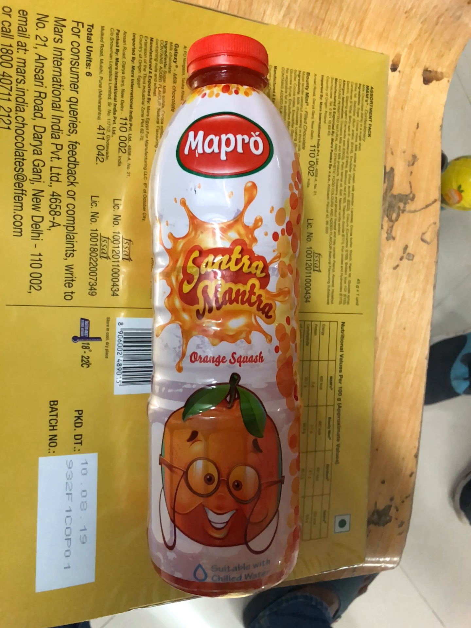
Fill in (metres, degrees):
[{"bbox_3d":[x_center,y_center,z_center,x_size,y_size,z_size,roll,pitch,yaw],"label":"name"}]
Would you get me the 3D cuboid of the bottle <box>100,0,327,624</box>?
[{"bbox_3d":[-0.008,-0.014,0.283,0.090,0.090,0.300,3,95,19],"label":"bottle"}]
